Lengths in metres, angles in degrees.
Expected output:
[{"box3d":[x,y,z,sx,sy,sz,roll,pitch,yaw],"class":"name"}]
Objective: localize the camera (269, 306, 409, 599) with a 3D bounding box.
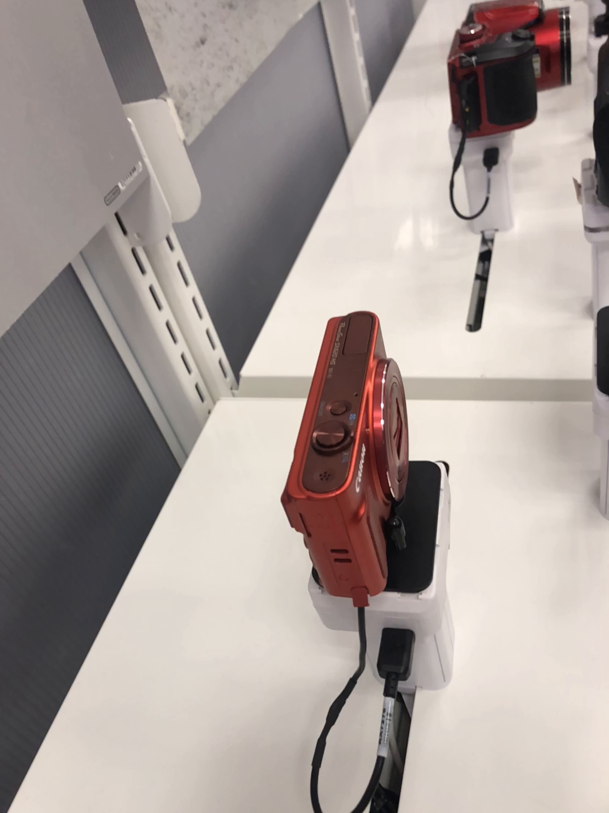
[{"box3d":[0.018,0.014,0.250,0.028,0.053,0.096,-4,42,17],"class":"camera"}]
